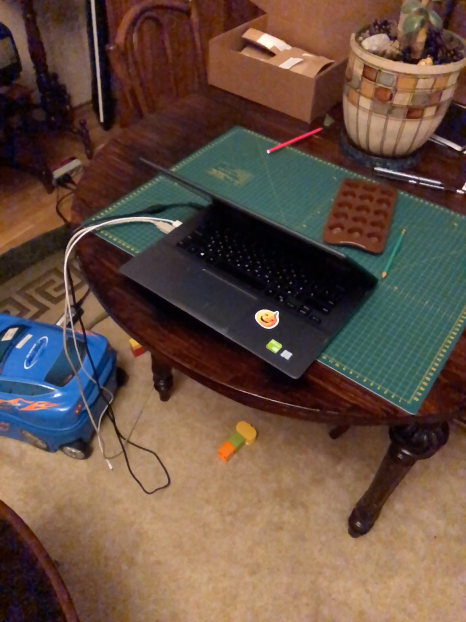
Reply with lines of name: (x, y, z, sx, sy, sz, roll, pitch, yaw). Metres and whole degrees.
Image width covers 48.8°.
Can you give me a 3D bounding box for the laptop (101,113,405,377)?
laptop: (0.023, -0.109, 0.716, 0.317, 0.162, 0.225, 30, 53, 23)
